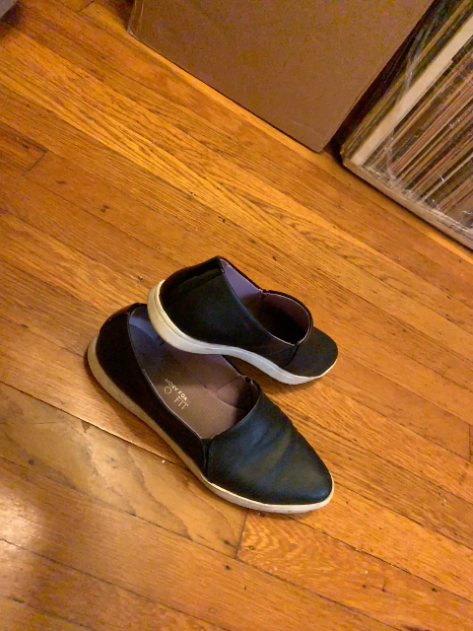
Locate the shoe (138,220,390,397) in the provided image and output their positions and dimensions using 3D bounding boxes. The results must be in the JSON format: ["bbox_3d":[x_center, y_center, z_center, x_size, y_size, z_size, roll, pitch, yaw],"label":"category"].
[{"bbox_3d":[0.040,0.011,0.458,0.250,0.080,0.100,14,53,-48],"label":"shoe"}]

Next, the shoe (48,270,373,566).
[{"bbox_3d":[-0.019,0.092,0.424,0.260,0.080,0.100,38,50,-4],"label":"shoe"}]
